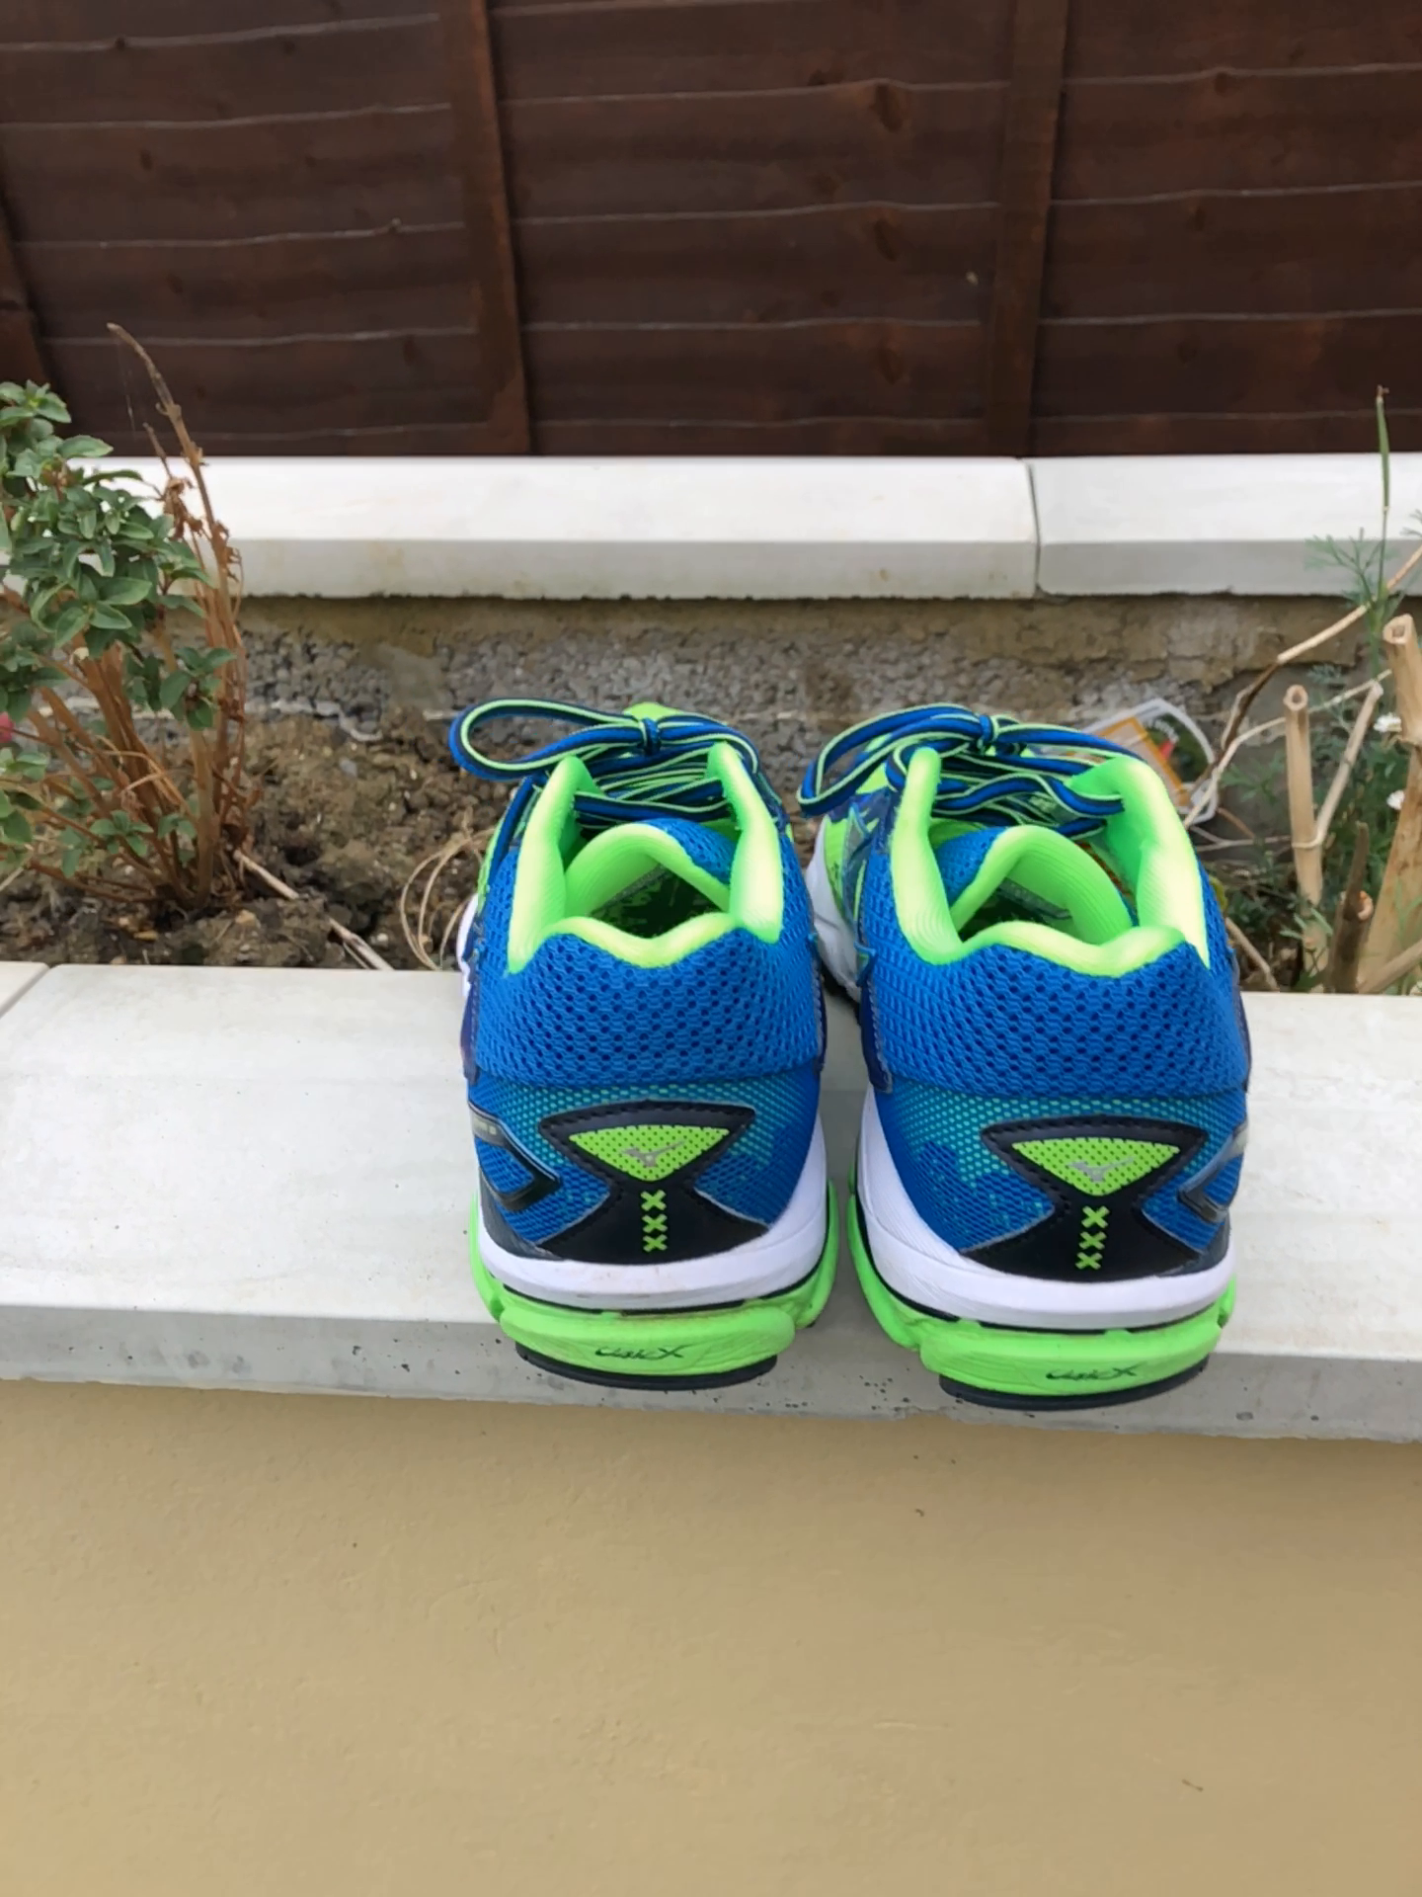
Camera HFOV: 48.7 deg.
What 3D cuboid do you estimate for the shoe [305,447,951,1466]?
[{"bbox_3d":[-0.021,-0.026,0.421,0.110,0.119,0.292,-4,35,-2],"label":"shoe"}]

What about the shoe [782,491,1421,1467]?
[{"bbox_3d":[0.077,-0.022,0.418,0.110,0.119,0.292,0,31,4],"label":"shoe"}]
